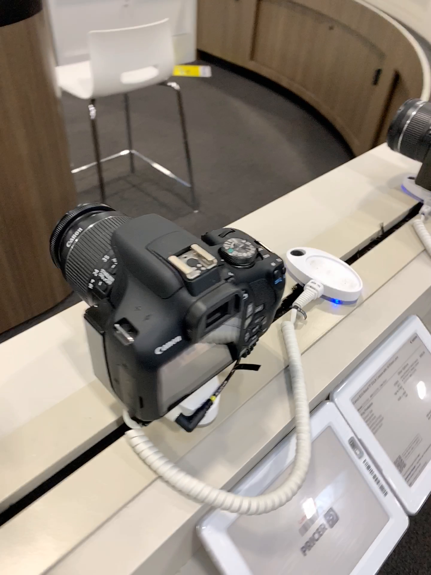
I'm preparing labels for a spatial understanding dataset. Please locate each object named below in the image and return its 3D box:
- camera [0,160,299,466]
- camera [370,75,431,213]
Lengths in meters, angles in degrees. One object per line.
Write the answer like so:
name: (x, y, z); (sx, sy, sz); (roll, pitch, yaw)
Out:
camera: (-0.050, 0.005, 0.312); (0.134, 0.101, 0.146); (-31, 54, -32)
camera: (0.291, -0.180, 0.544); (0.135, 0.089, 0.122); (34, 50, 27)
